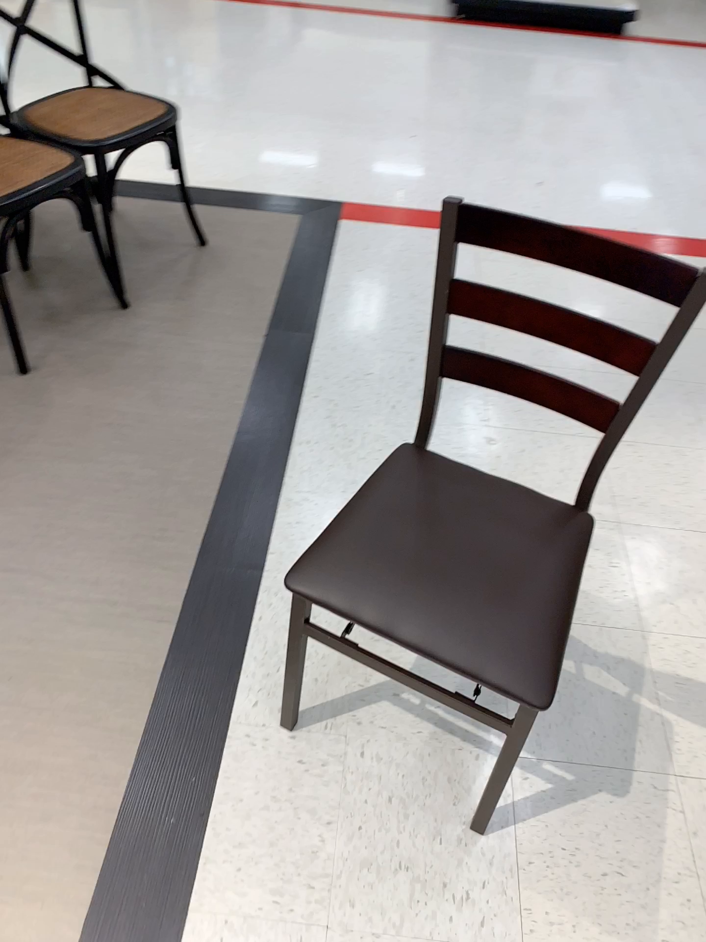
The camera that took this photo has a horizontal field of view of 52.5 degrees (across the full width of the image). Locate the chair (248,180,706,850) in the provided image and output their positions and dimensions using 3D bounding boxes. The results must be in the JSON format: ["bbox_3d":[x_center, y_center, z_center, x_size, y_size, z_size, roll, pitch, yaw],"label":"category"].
[{"bbox_3d":[0.183,0.098,1.125,0.440,0.826,0.522,23,48,17],"label":"chair"}]
